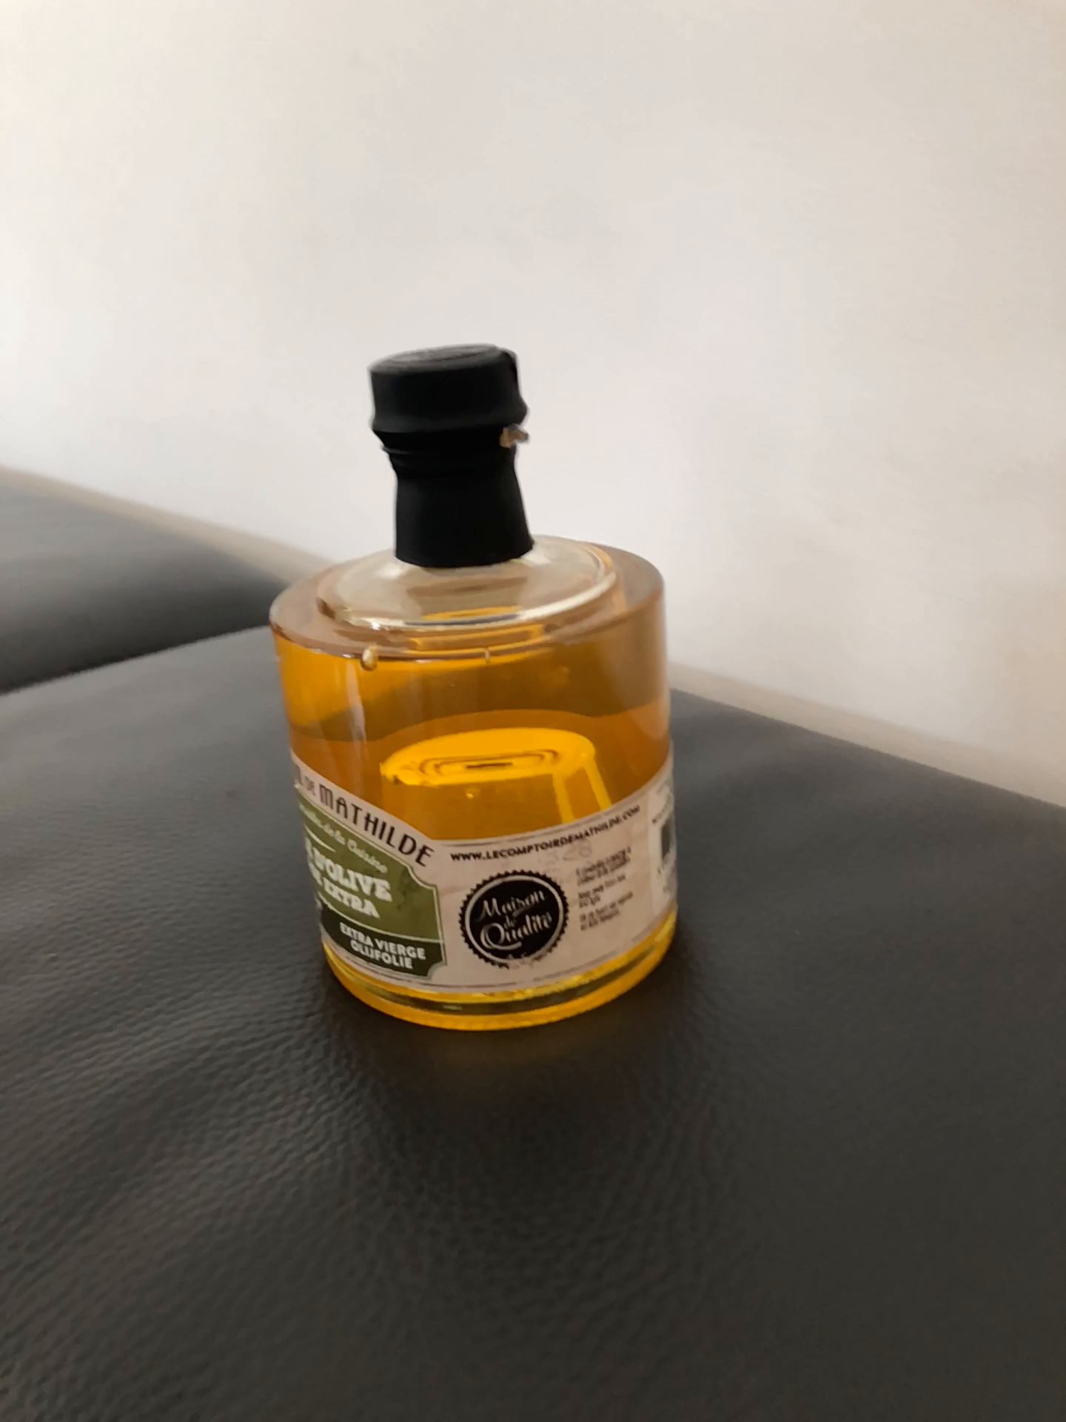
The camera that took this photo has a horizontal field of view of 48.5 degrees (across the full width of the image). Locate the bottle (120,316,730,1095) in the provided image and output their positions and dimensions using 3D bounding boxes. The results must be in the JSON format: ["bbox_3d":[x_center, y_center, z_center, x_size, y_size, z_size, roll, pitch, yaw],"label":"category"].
[{"bbox_3d":[-0.022,-0.012,0.257,0.090,0.129,0.090,-3,22,1],"label":"bottle"}]
